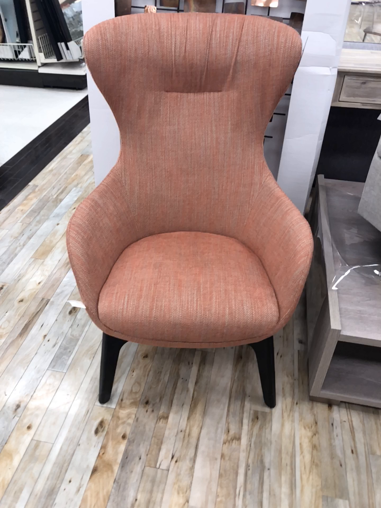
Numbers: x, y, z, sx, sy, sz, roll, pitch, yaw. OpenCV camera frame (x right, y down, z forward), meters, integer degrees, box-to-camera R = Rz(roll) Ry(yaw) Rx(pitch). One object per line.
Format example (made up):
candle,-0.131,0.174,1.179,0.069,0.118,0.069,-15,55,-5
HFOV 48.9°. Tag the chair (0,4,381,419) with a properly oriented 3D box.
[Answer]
chair,-0.010,-0.124,1.334,0.690,1.065,0.753,1,37,0
